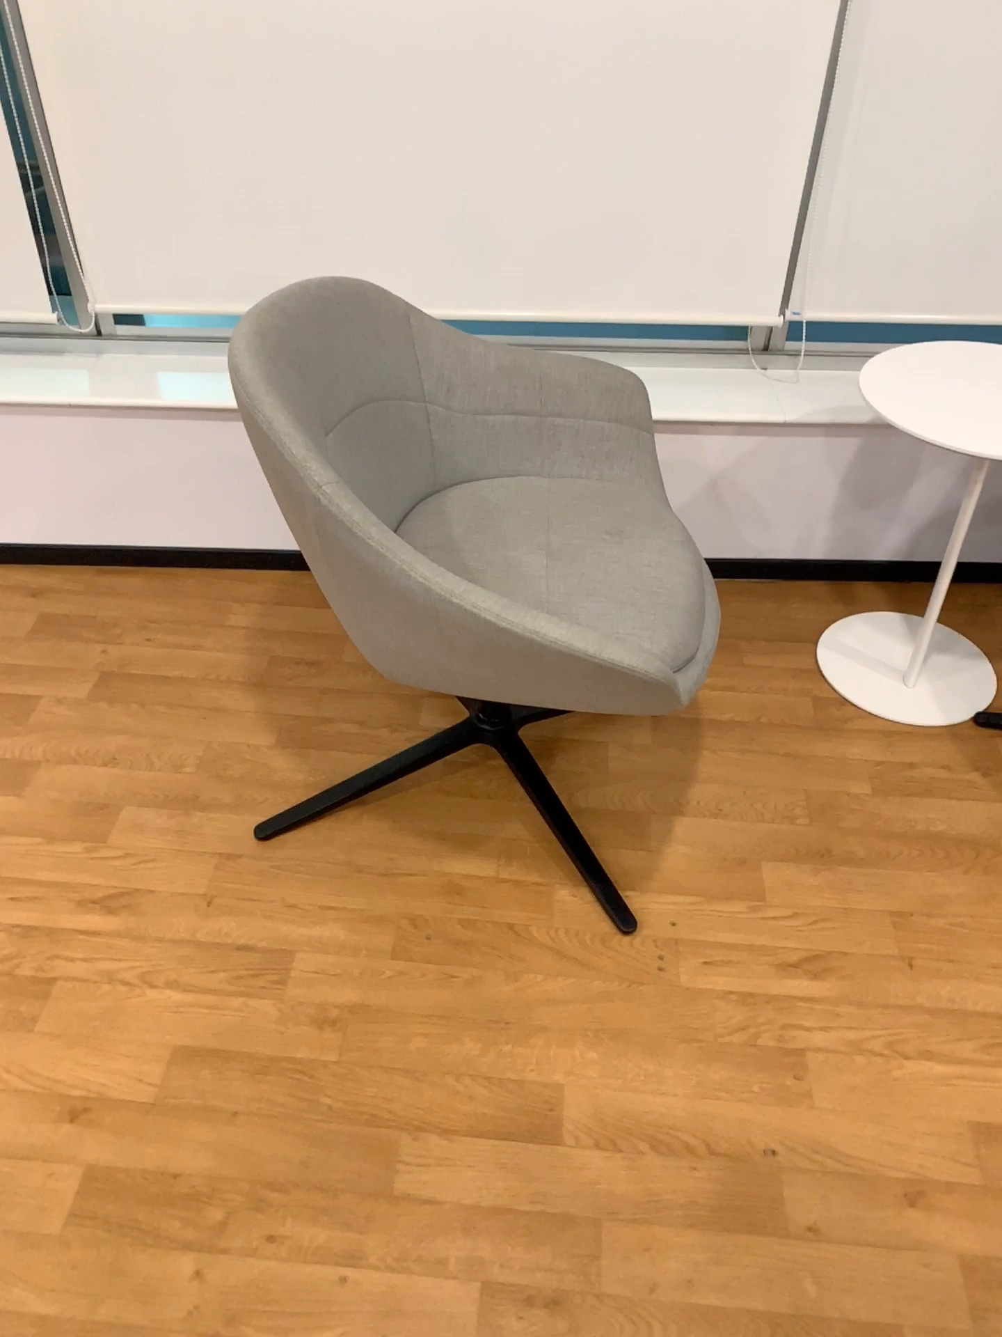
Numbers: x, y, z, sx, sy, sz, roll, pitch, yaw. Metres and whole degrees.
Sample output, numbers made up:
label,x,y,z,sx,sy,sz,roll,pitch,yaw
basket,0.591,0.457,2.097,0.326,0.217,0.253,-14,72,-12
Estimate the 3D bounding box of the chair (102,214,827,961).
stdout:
label,x,y,z,sx,sy,sz,roll,pitch,yaw
chair,-0.018,-0.129,1.450,0.680,0.753,0.676,5,40,3
